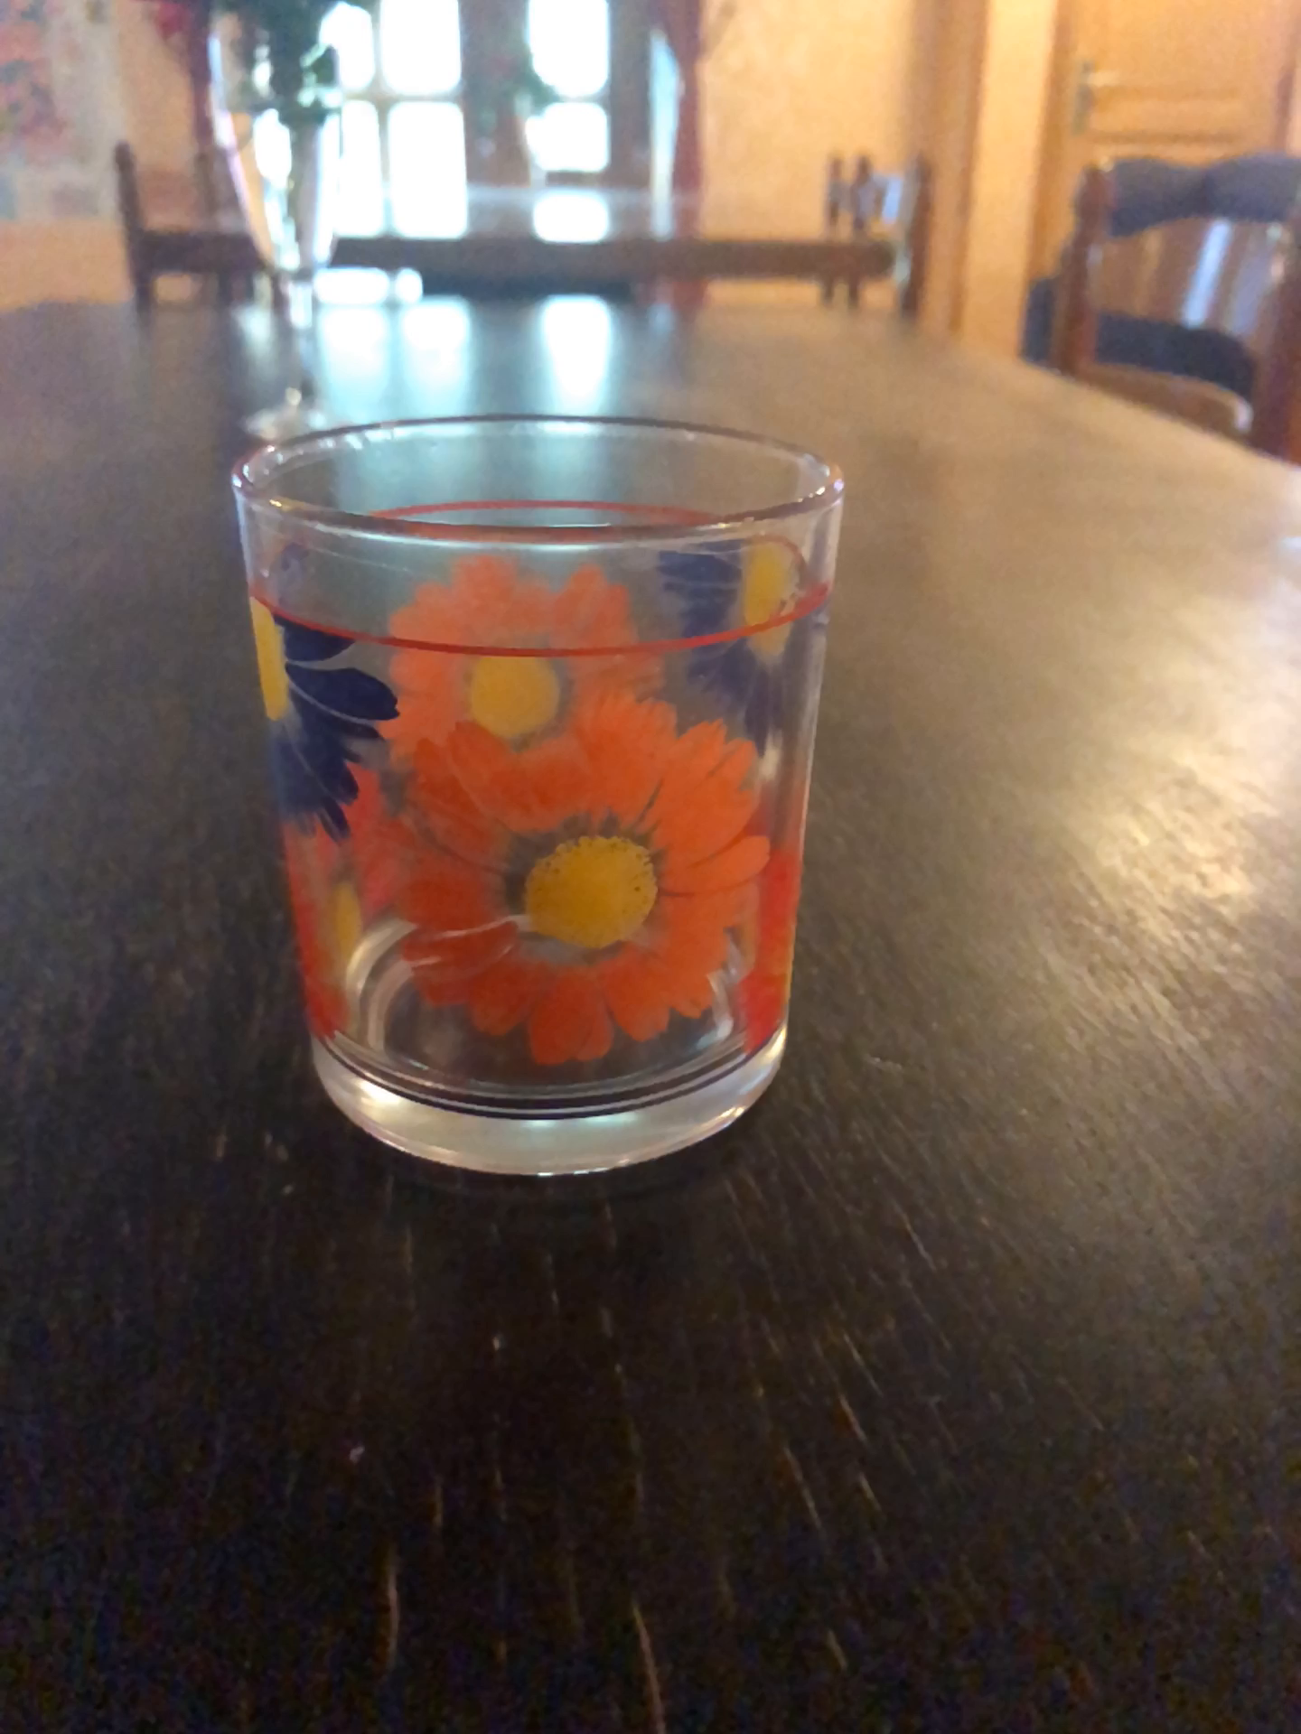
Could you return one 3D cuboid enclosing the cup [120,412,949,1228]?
[{"bbox_3d":[-0.014,-0.012,0.189,0.078,0.079,0.076,1,25,0],"label":"cup"}]
